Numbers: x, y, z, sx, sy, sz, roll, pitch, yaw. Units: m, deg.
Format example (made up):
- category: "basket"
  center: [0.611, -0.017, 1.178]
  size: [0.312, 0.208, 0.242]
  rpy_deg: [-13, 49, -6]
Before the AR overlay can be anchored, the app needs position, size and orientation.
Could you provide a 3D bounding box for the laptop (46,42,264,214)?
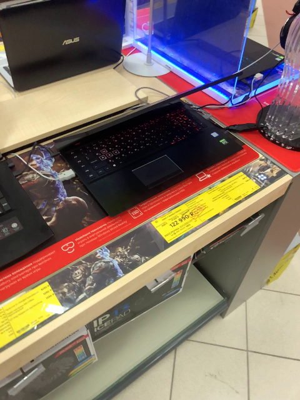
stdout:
- category: "laptop"
  center: [0.012, -0.191, 0.779]
  size: [0.395, 0.166, 0.258]
  rpy_deg: [-28, 56, -24]
